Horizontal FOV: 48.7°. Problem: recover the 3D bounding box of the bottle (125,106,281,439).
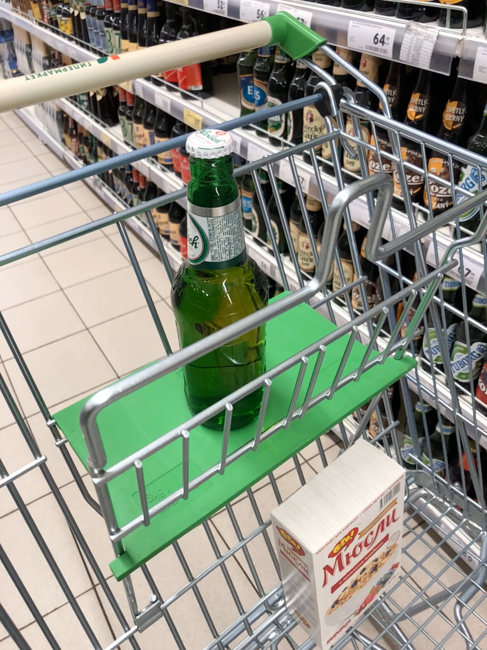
[{"bbox_3d":[-0.022,-0.027,0.383,0.080,0.219,0.080,-2,39,2],"label":"bottle"}]
